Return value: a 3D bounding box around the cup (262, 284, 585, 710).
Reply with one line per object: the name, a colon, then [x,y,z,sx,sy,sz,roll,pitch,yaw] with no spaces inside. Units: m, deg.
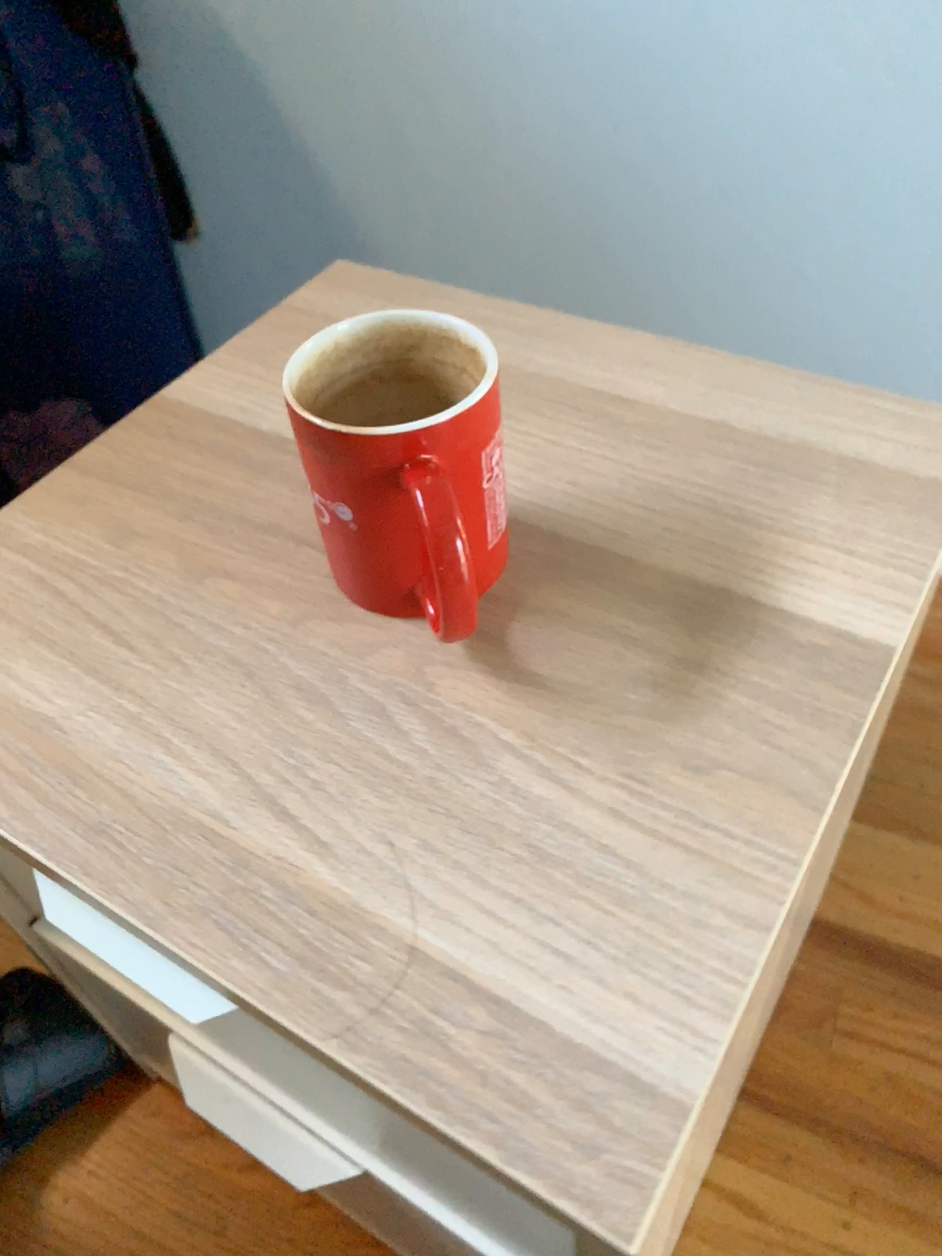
cup: [-0.020,-0.055,0.389,0.090,0.090,0.131,-14,48,-7]
